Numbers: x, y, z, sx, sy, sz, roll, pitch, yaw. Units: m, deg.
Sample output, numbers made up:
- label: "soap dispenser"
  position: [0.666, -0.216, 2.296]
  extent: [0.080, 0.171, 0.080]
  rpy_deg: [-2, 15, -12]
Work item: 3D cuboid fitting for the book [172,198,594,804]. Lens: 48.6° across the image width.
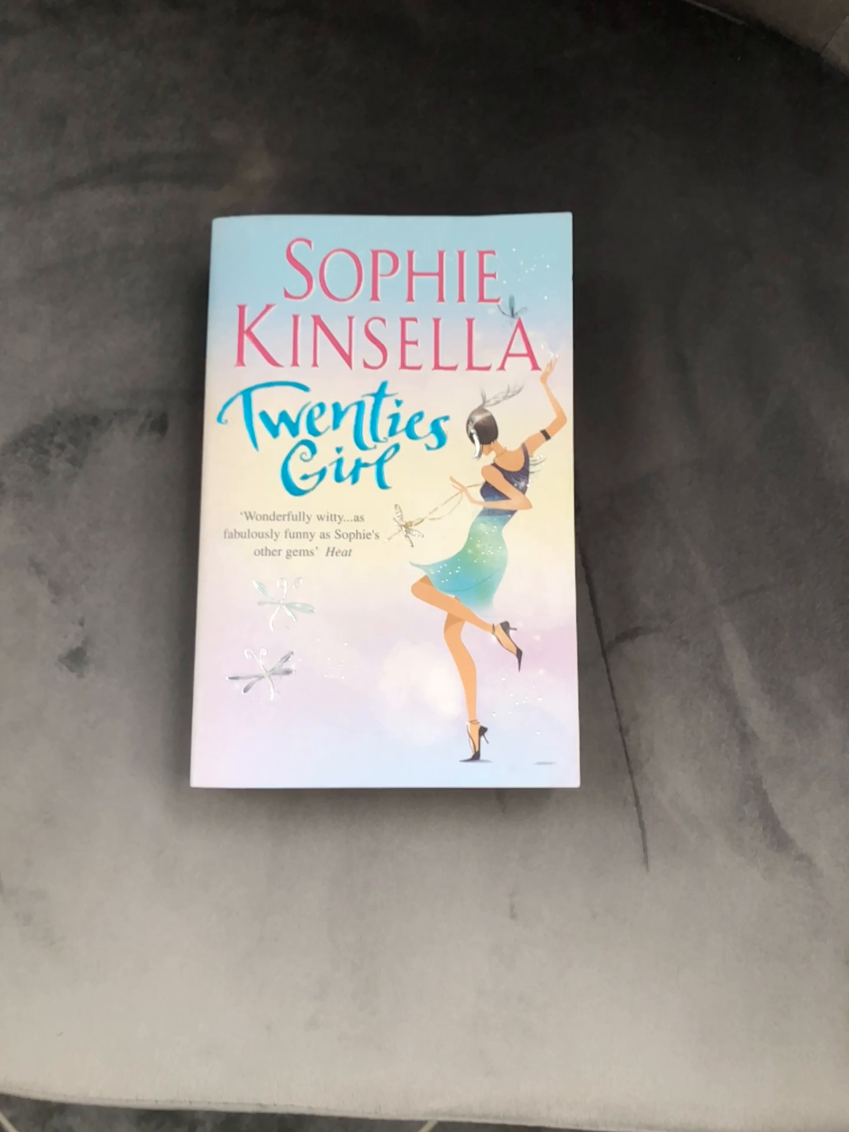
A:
- label: "book"
  position: [-0.013, -0.022, 0.330]
  extent: [0.132, 0.043, 0.200]
  rpy_deg: [1, 82, -3]
